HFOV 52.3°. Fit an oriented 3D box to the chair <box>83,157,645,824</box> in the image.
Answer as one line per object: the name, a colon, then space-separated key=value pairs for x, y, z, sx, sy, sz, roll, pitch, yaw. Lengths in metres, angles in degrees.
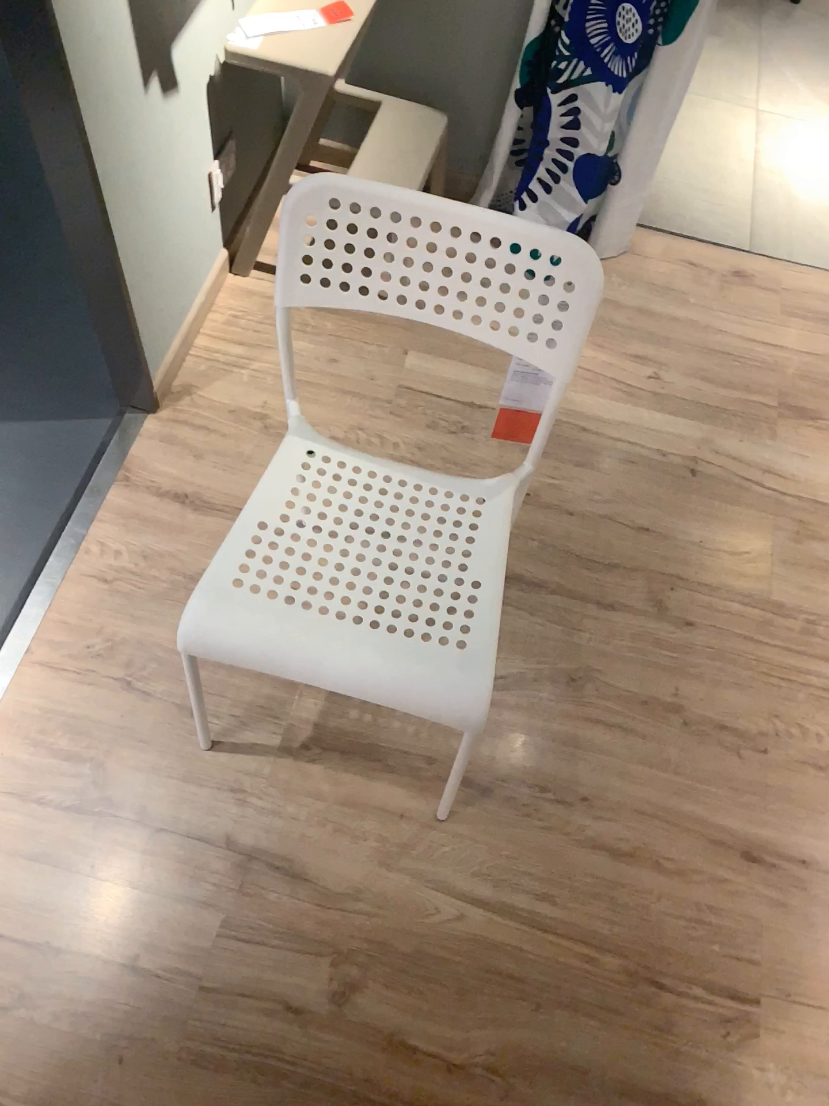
chair: x=-0.037 y=-0.033 z=1.097 sx=0.430 sy=0.609 sz=0.531 roll=14 pitch=60 yaw=2
